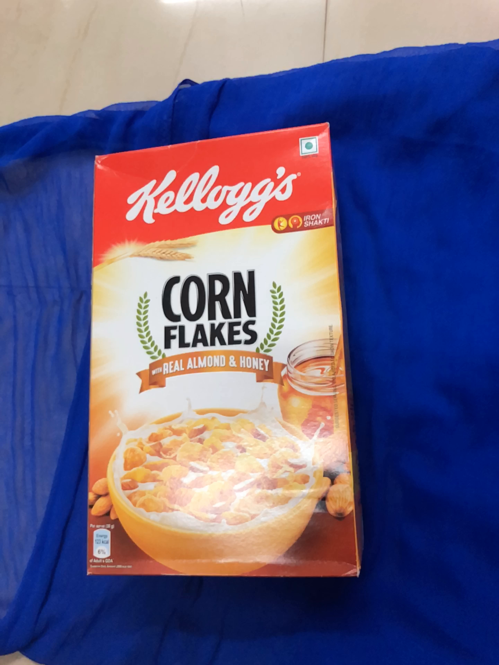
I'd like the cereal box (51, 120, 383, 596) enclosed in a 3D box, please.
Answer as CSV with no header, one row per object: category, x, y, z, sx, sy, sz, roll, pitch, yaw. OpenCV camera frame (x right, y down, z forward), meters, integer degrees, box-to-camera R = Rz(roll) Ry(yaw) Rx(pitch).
cereal box,-0.022,0.018,0.410,0.210,0.090,0.300,-4,80,11
